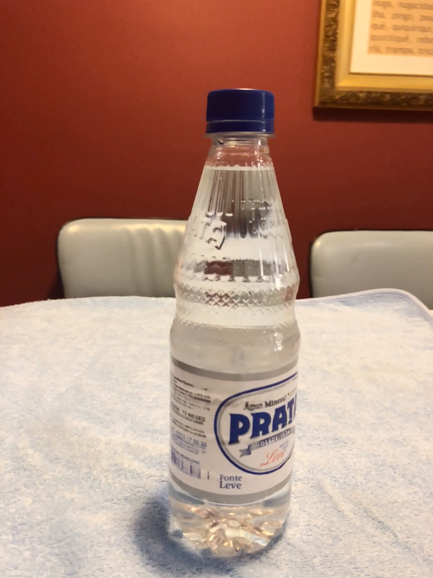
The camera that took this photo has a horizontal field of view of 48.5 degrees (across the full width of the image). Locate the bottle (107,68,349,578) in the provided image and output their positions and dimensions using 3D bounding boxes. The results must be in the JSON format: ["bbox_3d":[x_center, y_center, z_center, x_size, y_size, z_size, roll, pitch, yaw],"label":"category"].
[{"bbox_3d":[0.003,0.019,0.237,0.080,0.219,0.070,-10,18,-38],"label":"bottle"}]
